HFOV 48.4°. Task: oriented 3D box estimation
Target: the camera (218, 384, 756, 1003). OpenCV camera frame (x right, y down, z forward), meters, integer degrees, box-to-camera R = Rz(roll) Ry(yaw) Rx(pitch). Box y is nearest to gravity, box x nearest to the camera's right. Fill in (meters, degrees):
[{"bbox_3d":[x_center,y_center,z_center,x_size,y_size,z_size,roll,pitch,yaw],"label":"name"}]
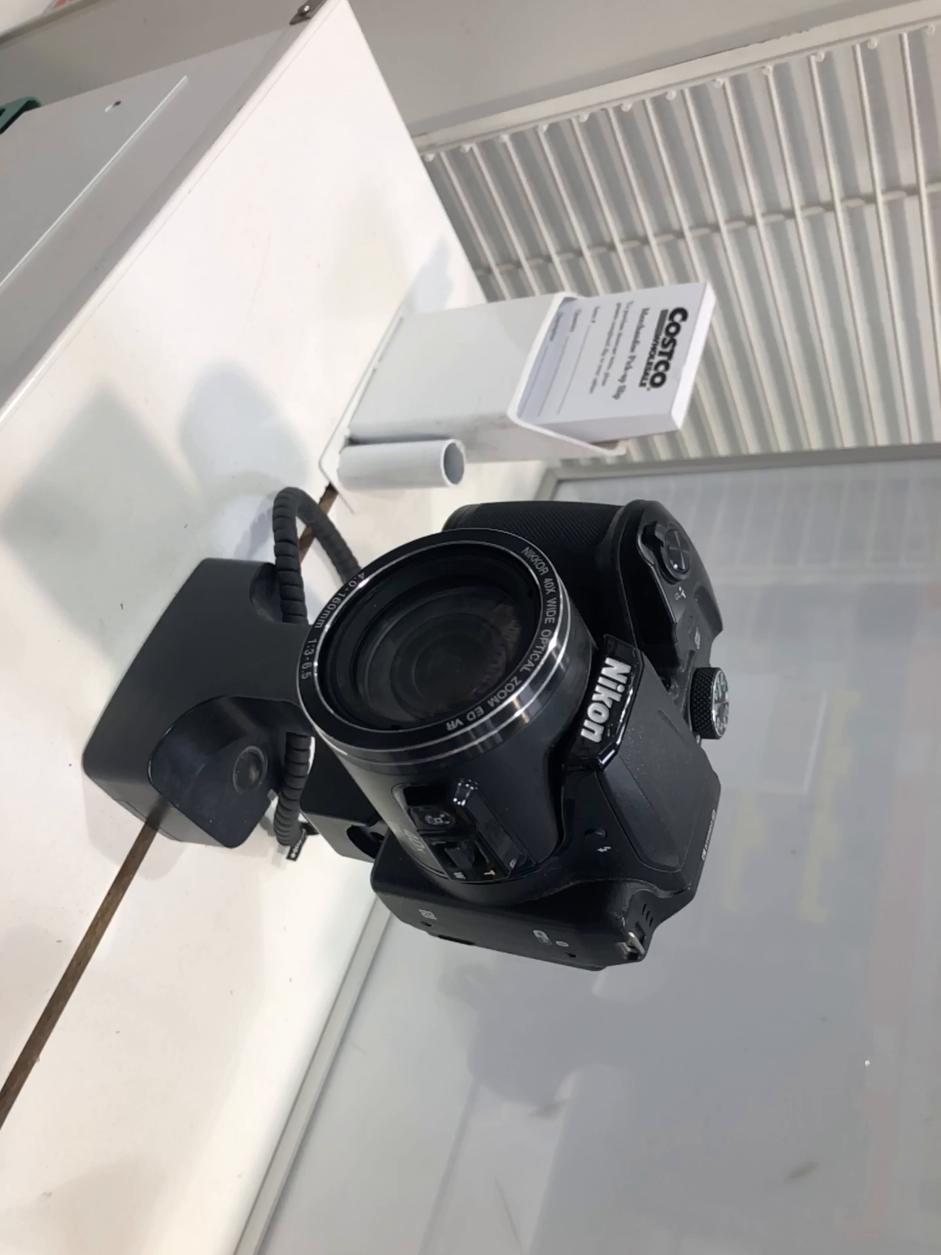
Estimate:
[{"bbox_3d":[0.016,0.017,0.276,0.101,0.079,0.116,57,44,-45],"label":"camera"}]
